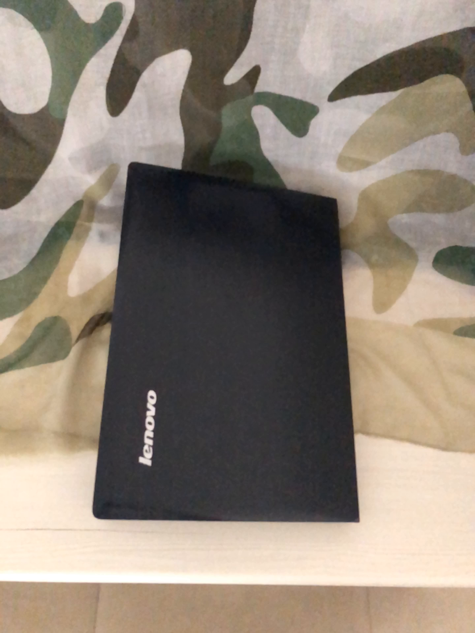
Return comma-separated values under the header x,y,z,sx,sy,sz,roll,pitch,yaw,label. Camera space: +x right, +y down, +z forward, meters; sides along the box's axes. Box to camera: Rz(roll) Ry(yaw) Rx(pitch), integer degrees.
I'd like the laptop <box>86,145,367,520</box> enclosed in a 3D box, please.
x,y,z,sx,sy,sz,roll,pitch,yaw,label
-0.002,0.005,0.563,0.249,0.059,0.386,4,68,-5,laptop
